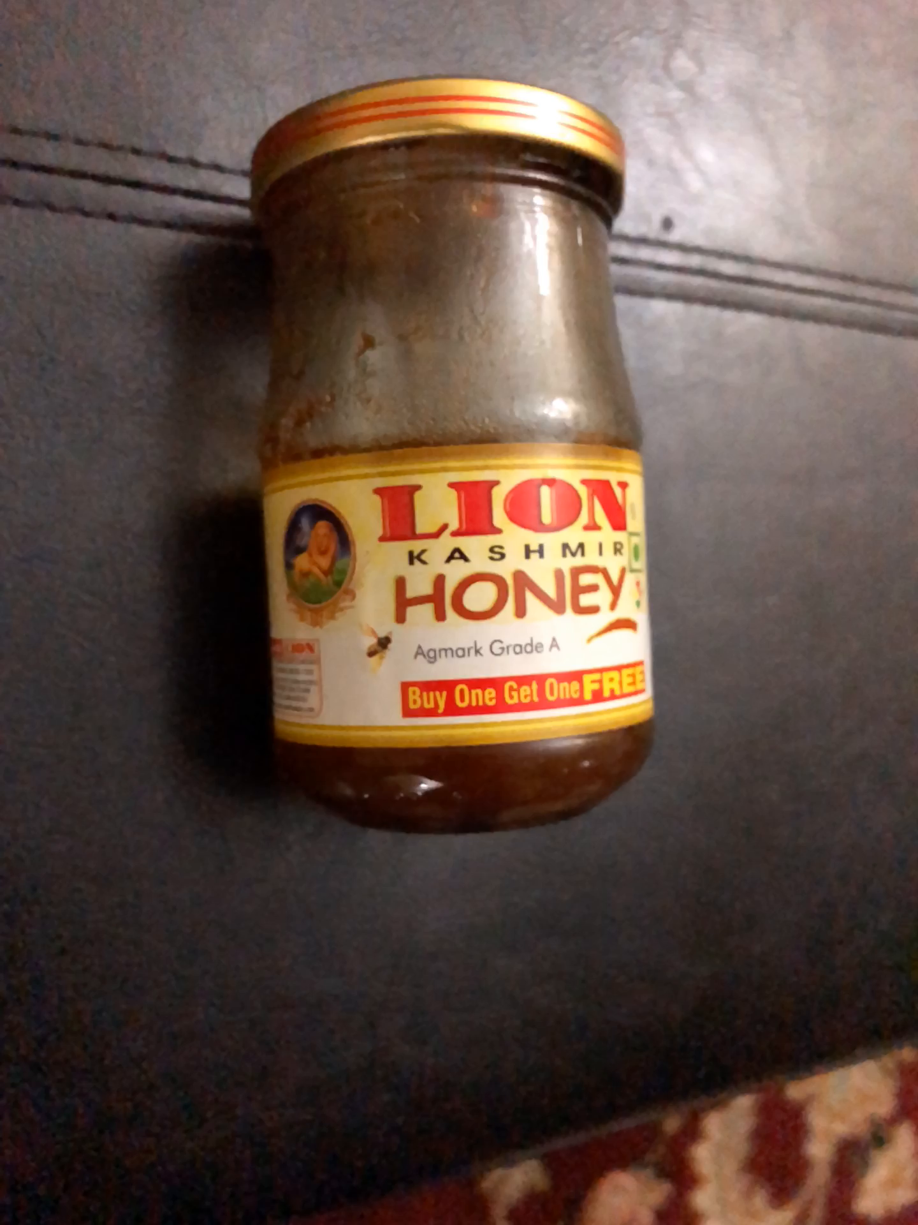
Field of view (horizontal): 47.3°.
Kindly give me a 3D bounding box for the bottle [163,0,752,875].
[{"bbox_3d":[-0.006,-0.025,0.168,0.069,0.070,0.110,-3,90,-20],"label":"bottle"}]
